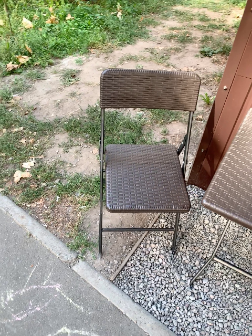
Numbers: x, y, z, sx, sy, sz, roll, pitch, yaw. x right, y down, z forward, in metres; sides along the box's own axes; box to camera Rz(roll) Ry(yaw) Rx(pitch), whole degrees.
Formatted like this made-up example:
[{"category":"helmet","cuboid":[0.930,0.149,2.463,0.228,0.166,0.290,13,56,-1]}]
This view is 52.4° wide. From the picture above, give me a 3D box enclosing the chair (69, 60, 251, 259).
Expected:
[{"category":"chair","cuboid":[0.077,-0.004,1.064,0.470,0.687,0.472,-1,47,-2]}]
